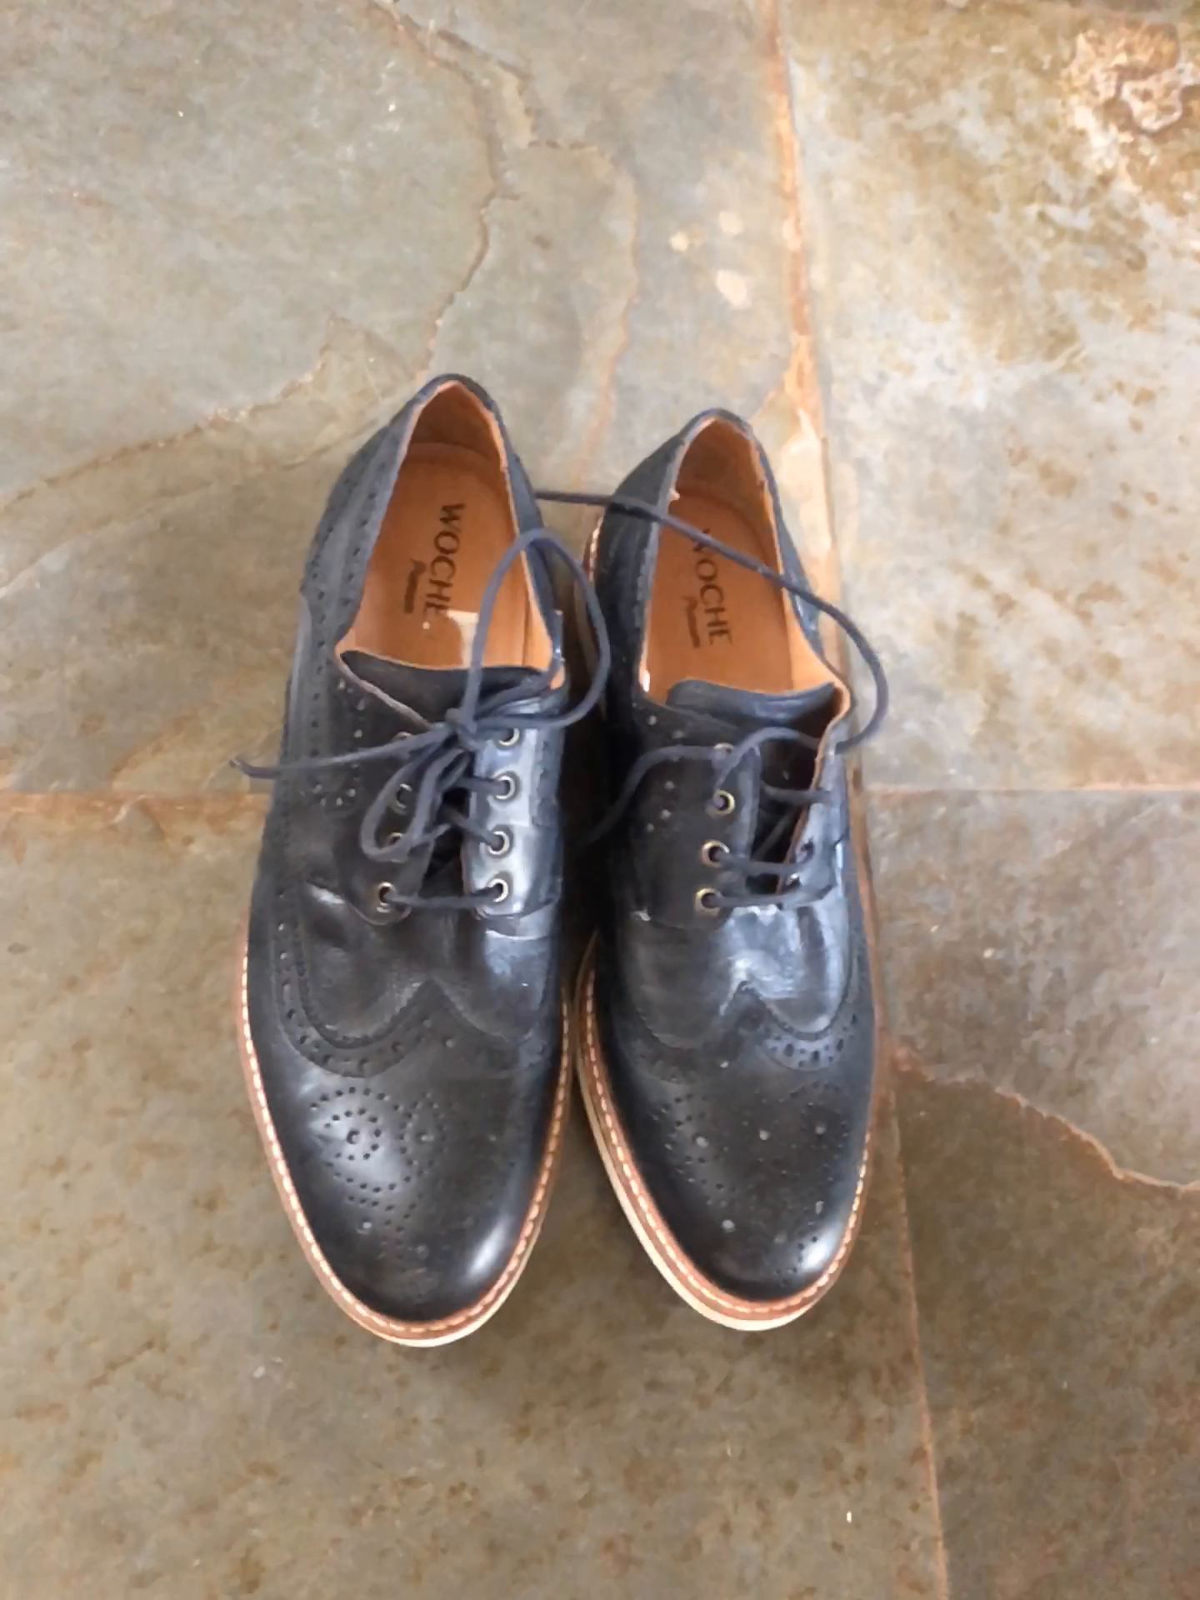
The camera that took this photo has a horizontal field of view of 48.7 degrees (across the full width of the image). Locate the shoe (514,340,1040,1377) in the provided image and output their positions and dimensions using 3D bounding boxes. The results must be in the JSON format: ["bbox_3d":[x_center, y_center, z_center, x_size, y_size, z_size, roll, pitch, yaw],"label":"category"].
[{"bbox_3d":[0.042,0.013,0.431,0.110,0.100,0.301,-2,74,-11],"label":"shoe"}]

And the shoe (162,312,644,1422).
[{"bbox_3d":[-0.056,0.015,0.395,0.110,0.100,0.291,2,73,-10],"label":"shoe"}]
